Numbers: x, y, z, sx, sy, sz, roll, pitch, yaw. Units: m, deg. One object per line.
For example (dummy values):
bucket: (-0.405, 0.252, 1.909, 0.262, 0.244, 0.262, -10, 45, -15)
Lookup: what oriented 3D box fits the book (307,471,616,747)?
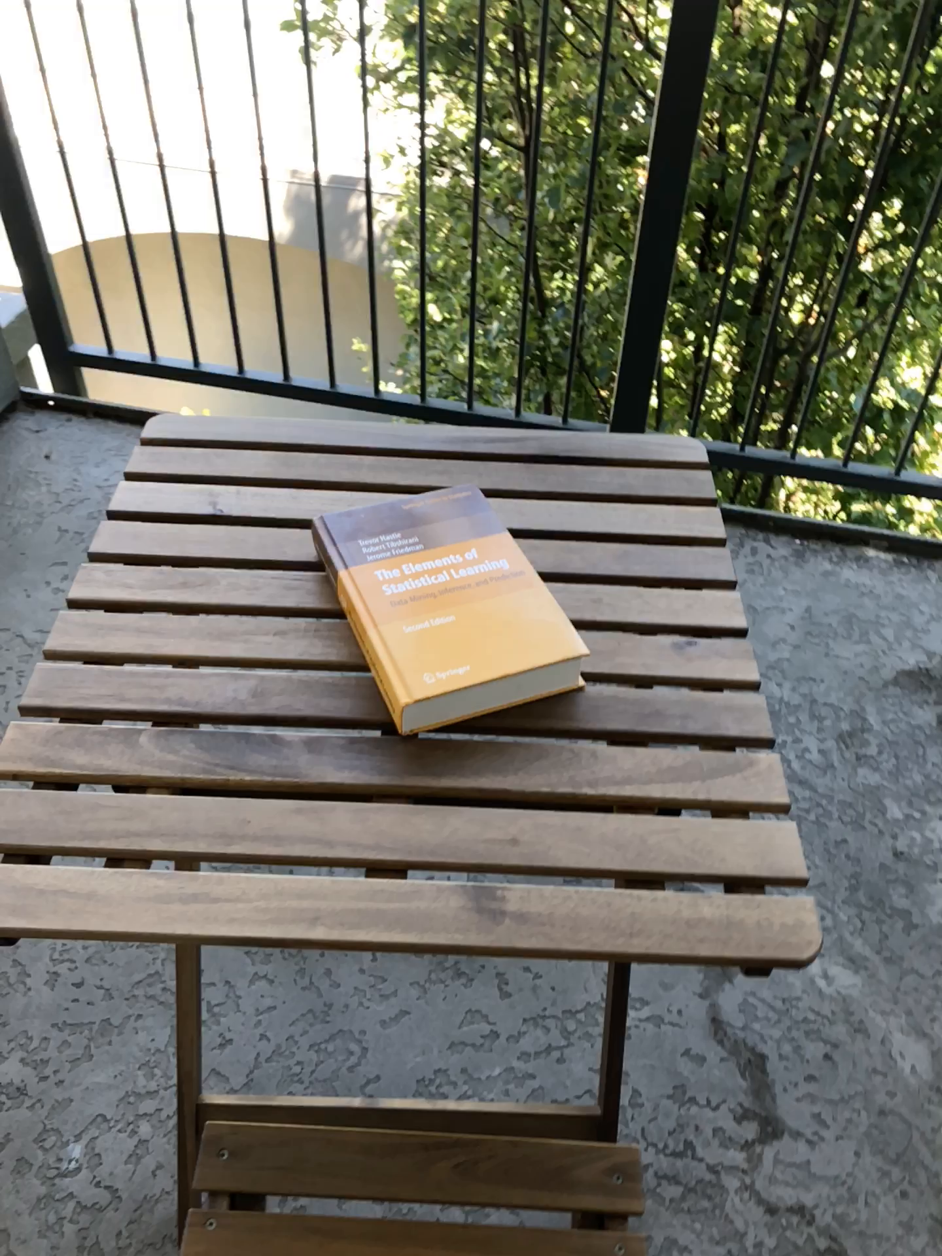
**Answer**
book: (-0.017, -0.028, 0.880, 0.180, 0.040, 0.251, -14, 47, -16)
